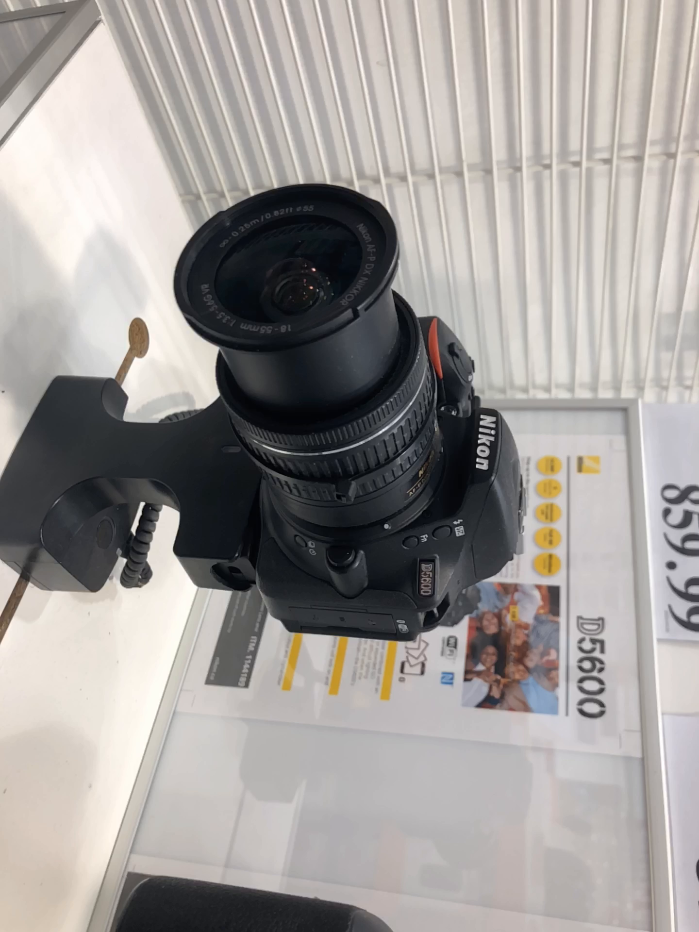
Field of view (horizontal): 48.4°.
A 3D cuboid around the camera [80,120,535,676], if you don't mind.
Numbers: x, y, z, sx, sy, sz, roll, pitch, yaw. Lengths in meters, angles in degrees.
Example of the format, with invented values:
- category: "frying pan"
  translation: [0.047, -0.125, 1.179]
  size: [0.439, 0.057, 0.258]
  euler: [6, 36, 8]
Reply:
- category: "camera"
  translation: [0.009, -0.011, 0.281]
  size: [0.160, 0.110, 0.120]
  euler: [70, 25, -56]
